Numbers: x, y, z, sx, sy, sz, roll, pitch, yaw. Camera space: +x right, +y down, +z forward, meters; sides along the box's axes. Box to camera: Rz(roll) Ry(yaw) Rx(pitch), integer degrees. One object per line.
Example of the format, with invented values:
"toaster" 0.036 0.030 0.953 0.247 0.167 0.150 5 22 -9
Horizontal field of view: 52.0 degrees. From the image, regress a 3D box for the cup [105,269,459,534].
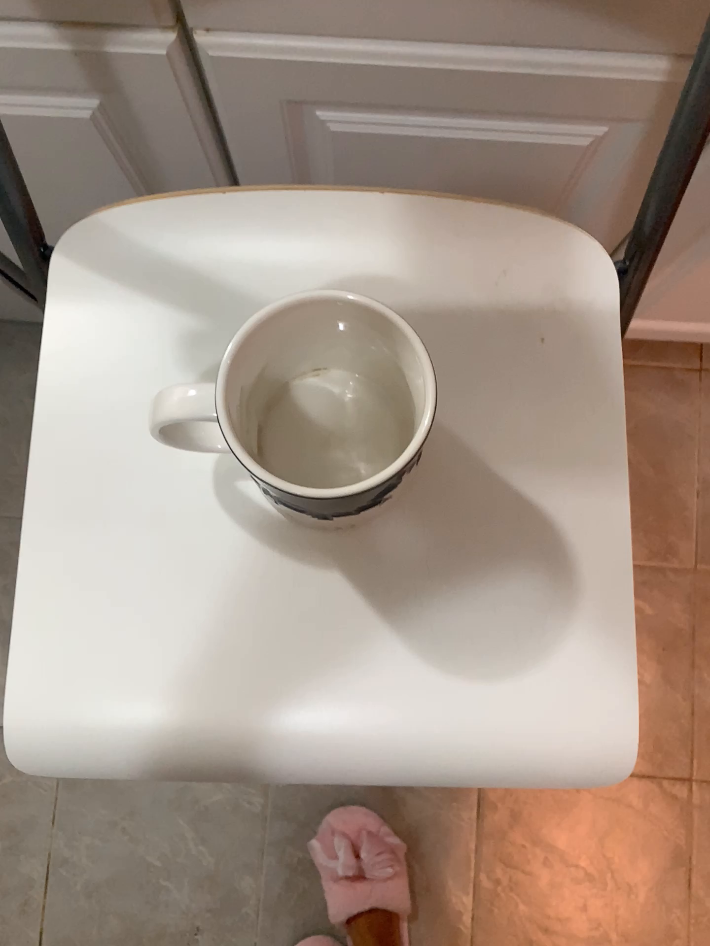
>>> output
"cup" -0.030 -0.028 0.360 0.143 0.100 0.104 4 85 1
